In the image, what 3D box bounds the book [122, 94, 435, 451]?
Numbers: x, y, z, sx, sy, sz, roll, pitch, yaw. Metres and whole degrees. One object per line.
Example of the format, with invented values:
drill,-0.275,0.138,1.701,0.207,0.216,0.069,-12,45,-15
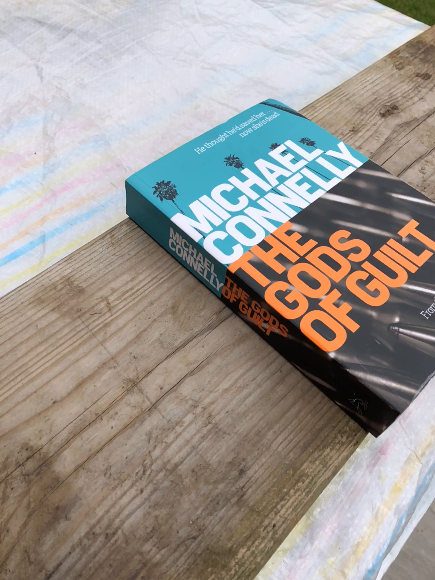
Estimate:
book,0.062,-0.031,0.293,0.141,0.040,0.200,-37,65,-28
